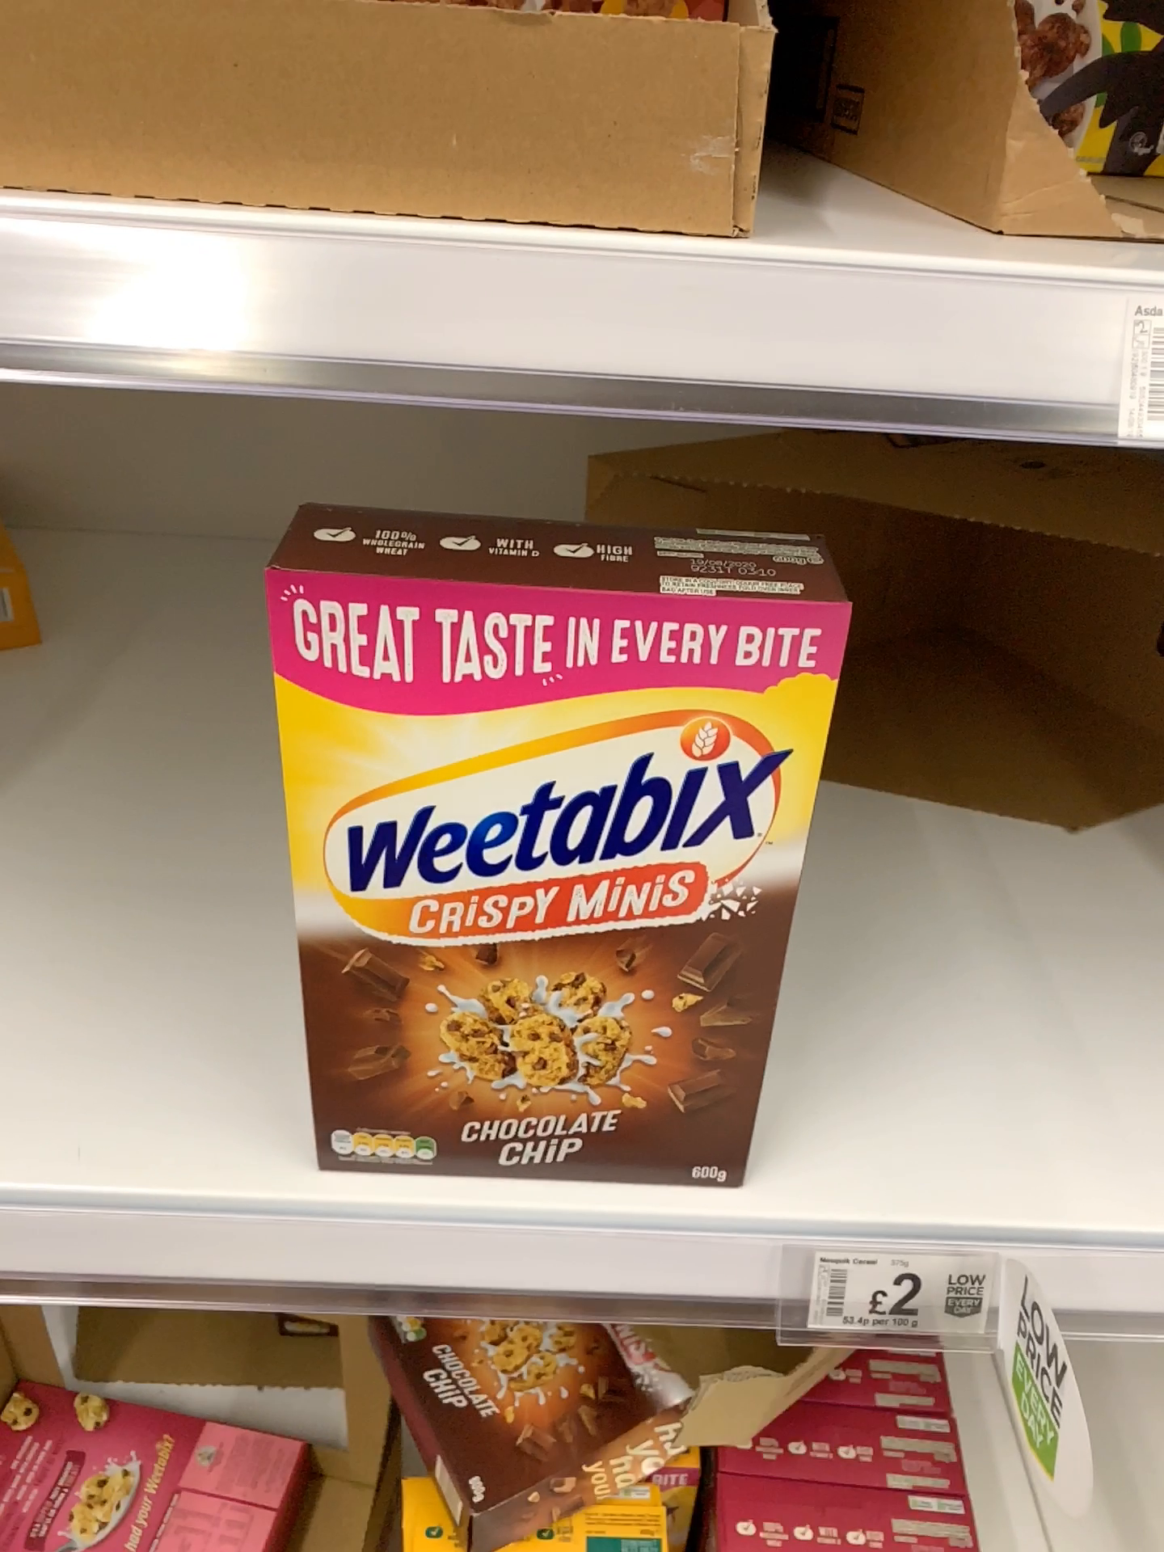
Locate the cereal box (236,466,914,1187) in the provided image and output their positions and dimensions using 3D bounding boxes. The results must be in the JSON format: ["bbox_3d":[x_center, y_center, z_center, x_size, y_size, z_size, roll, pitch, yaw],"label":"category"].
[{"bbox_3d":[-0.009,0.035,0.476,0.210,0.287,0.071,3,32,-1],"label":"cereal box"}]
